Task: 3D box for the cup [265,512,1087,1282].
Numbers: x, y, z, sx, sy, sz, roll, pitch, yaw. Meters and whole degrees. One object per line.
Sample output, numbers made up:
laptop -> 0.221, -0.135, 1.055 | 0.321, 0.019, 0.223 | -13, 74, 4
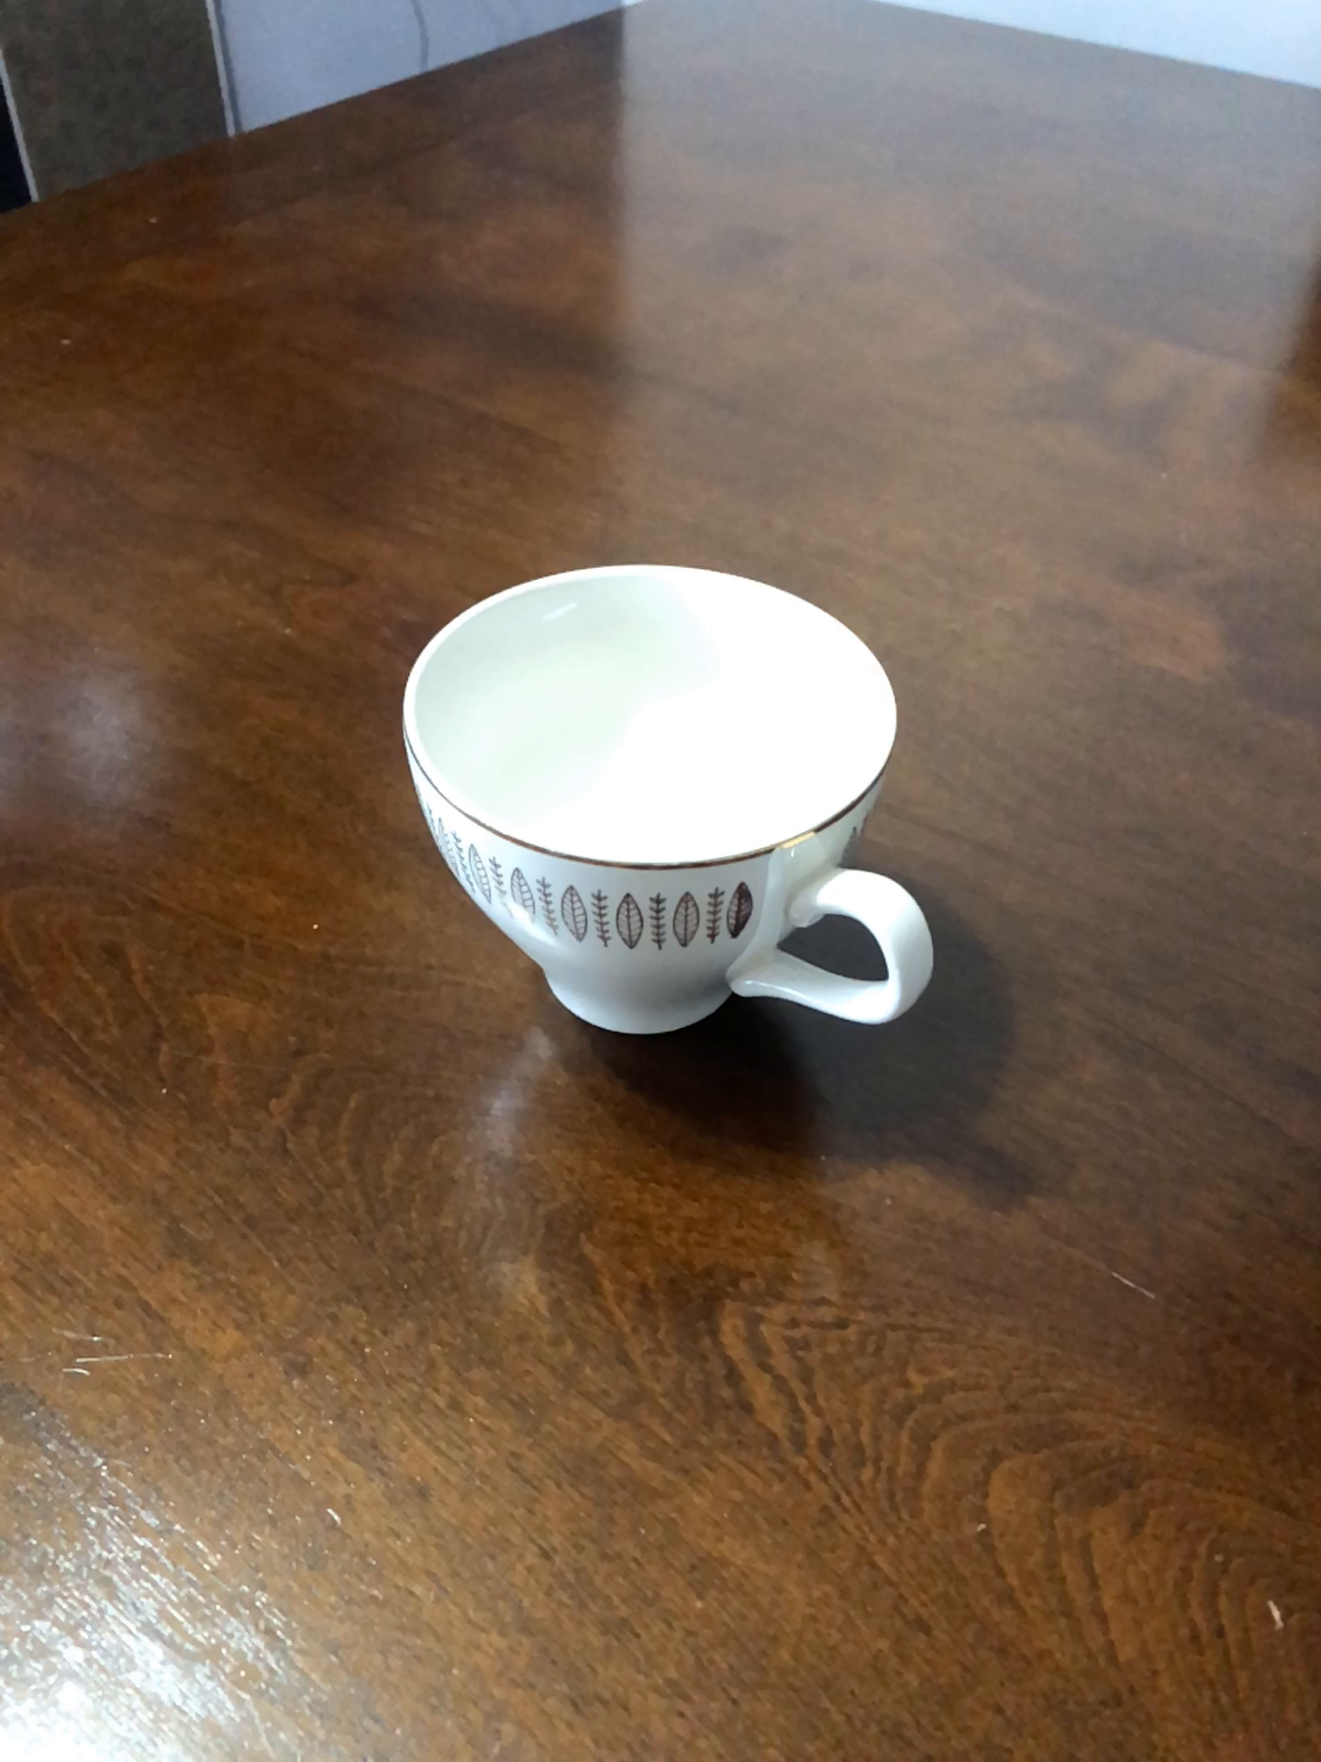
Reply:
cup -> 0.003, -0.004, 0.261 | 0.100, 0.060, 0.090 | 31, 50, 26
